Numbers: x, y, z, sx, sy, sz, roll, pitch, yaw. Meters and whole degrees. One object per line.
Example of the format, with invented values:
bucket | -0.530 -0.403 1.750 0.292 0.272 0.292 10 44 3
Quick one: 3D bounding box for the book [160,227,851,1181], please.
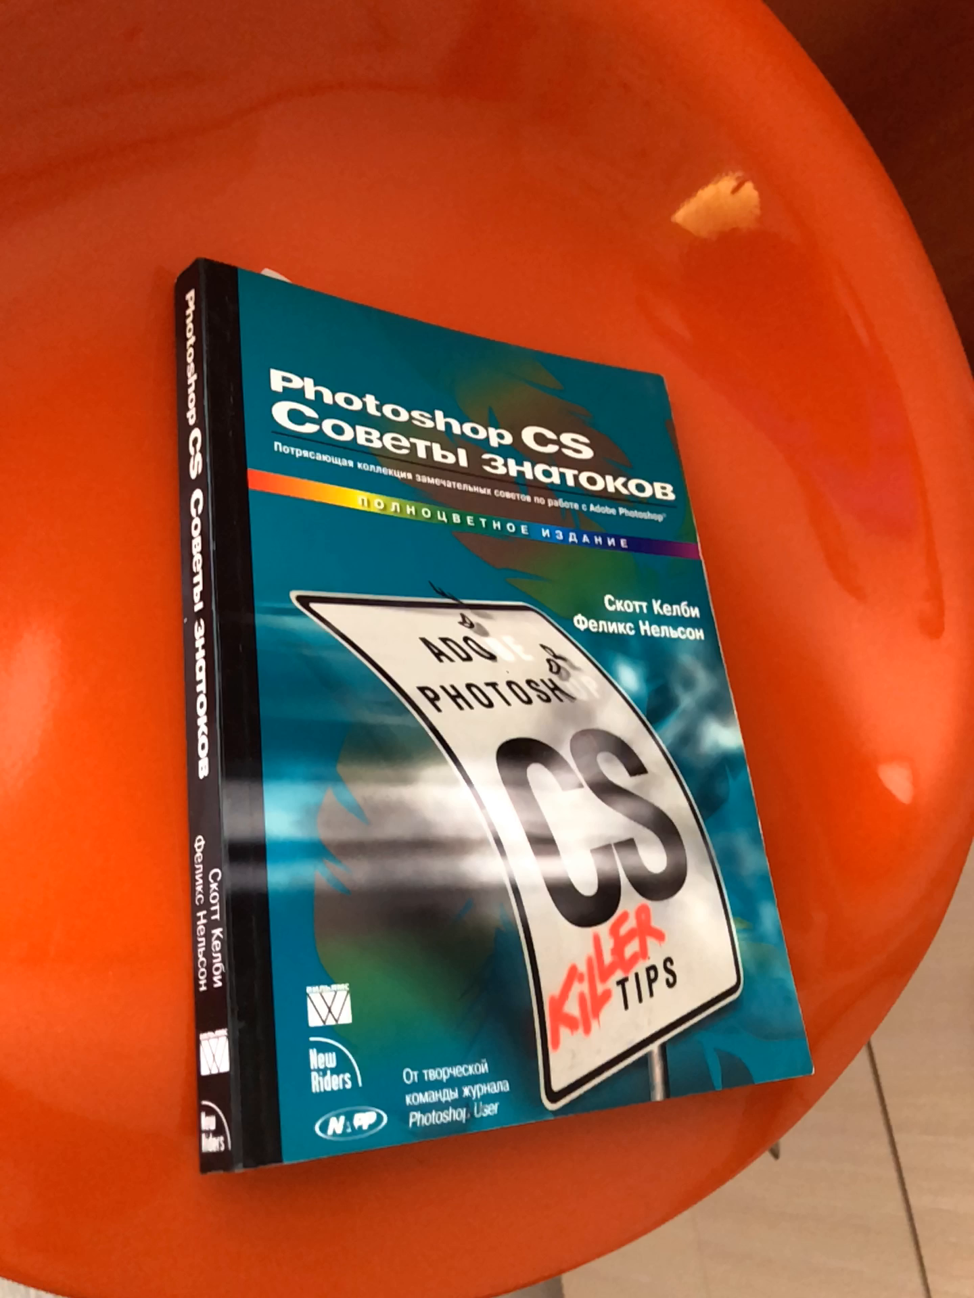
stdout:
book | 0.002 0.006 0.306 0.175 0.030 0.236 5 65 -31
